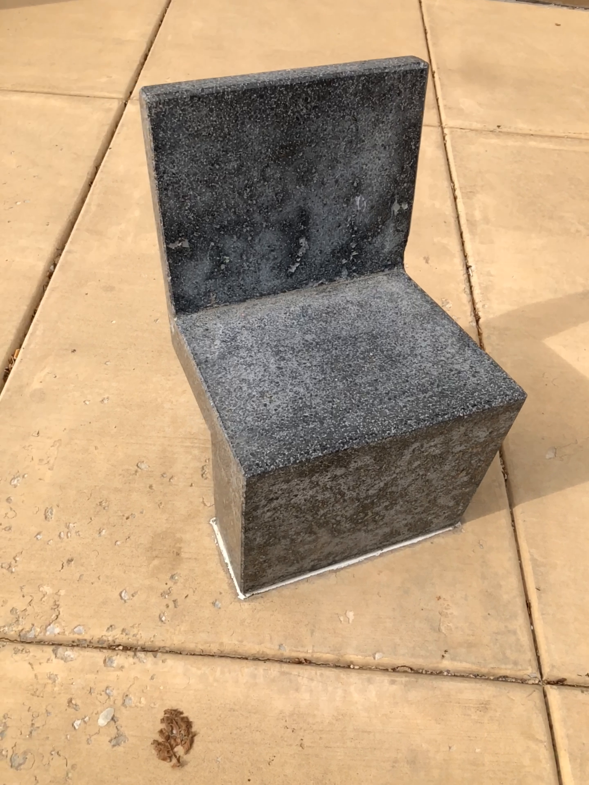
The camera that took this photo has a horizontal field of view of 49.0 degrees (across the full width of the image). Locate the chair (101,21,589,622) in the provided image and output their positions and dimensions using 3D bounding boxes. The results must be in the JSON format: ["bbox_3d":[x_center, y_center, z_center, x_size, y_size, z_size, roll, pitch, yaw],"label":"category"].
[{"bbox_3d":[0.056,-0.135,1.152,0.570,0.798,0.561,-13,44,-18],"label":"chair"}]
